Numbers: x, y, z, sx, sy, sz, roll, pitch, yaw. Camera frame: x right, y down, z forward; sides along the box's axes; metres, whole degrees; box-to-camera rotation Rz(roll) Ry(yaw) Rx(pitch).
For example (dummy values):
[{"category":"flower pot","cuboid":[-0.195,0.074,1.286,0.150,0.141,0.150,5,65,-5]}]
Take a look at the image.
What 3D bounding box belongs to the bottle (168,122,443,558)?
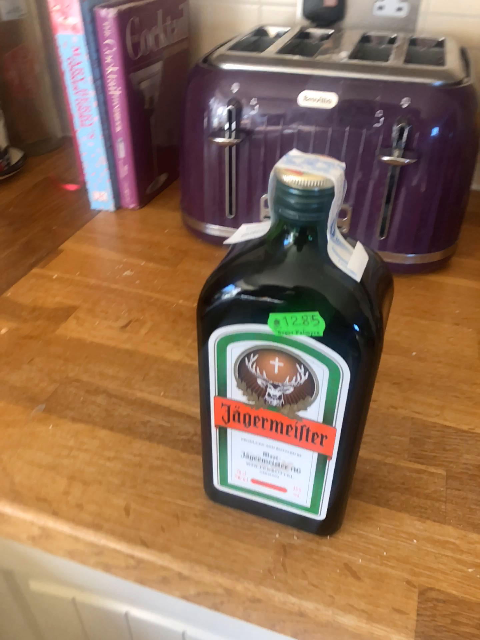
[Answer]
[{"category":"bottle","cuboid":[0.031,0.020,0.292,0.100,0.218,0.081,13,39,15]}]
